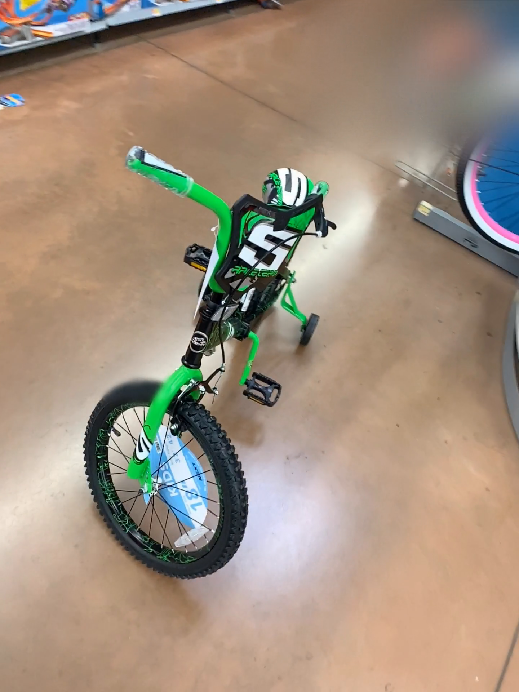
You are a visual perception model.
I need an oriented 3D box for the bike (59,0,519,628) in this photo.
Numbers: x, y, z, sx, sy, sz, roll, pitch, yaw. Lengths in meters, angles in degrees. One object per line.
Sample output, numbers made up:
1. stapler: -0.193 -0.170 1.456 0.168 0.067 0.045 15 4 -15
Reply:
1. bike: 0.071 -0.144 1.251 0.635 0.915 1.055 15 48 0
